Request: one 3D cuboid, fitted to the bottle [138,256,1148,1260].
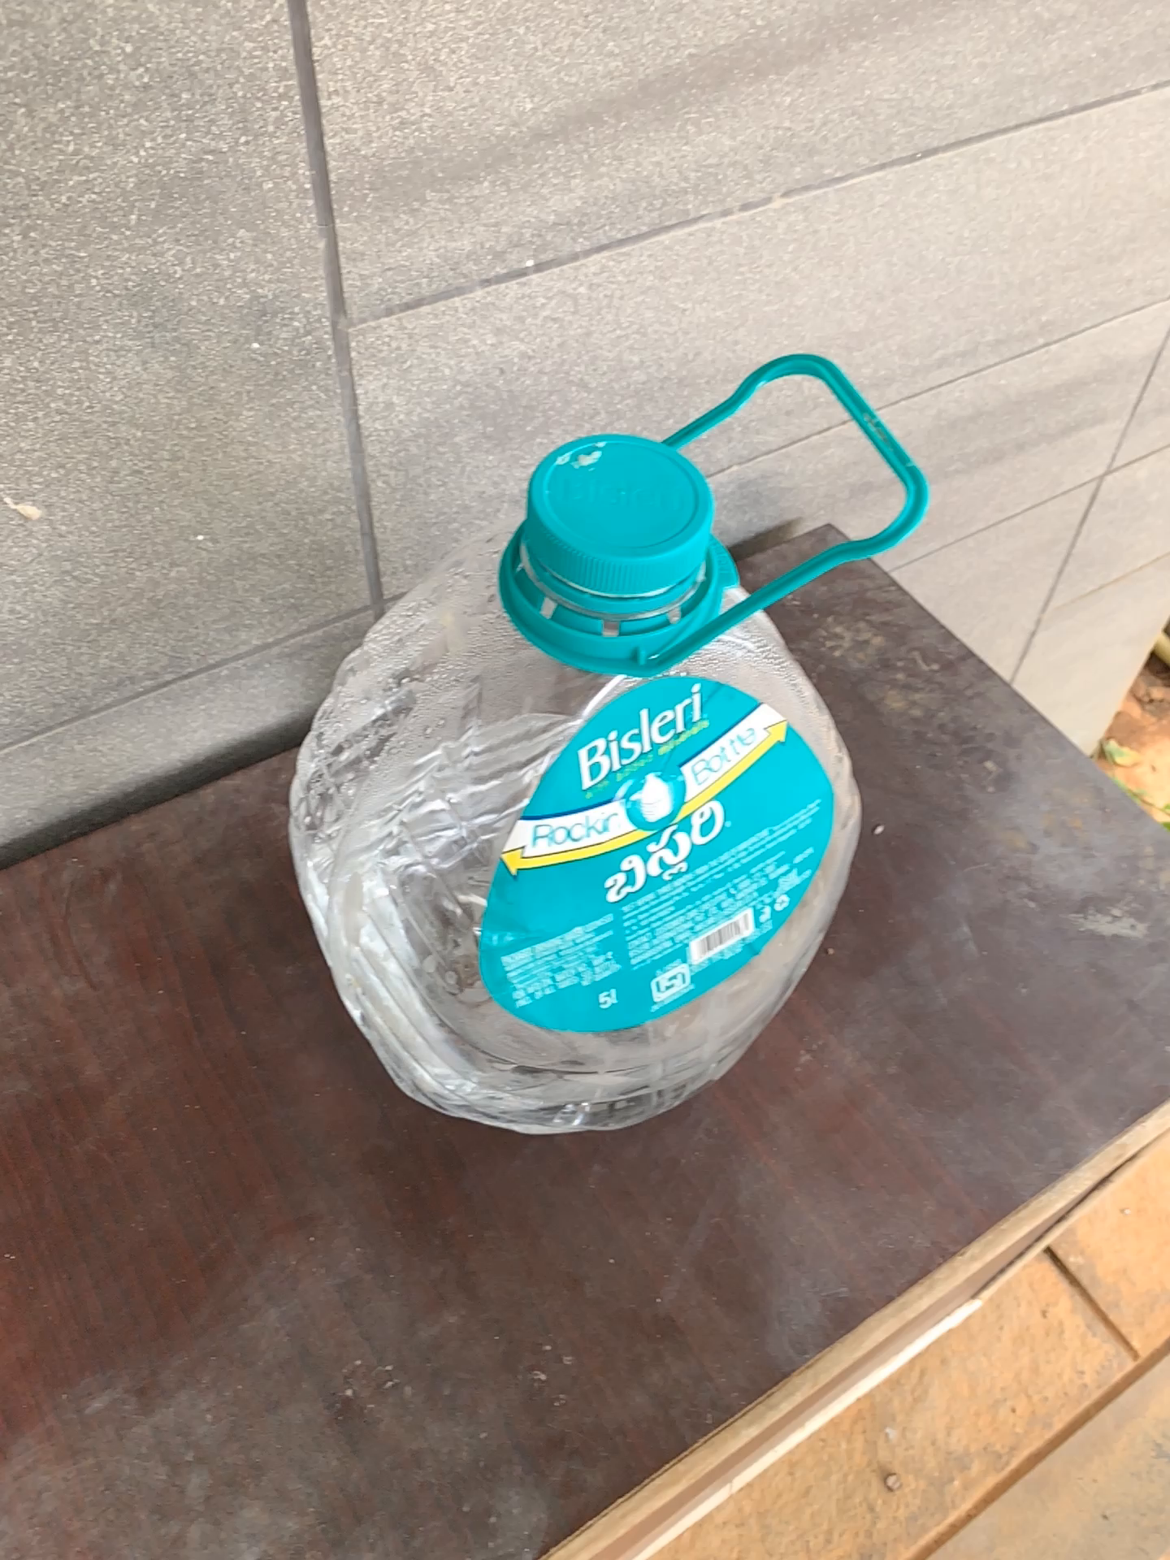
[{"bbox_3d":[0.006,-0.004,0.401,0.200,0.219,0.180,-23,57,-19],"label":"bottle"}]

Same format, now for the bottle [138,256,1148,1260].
[{"bbox_3d":[0.006,-0.004,0.401,0.200,0.219,0.180,-23,57,-19],"label":"bottle"}]
